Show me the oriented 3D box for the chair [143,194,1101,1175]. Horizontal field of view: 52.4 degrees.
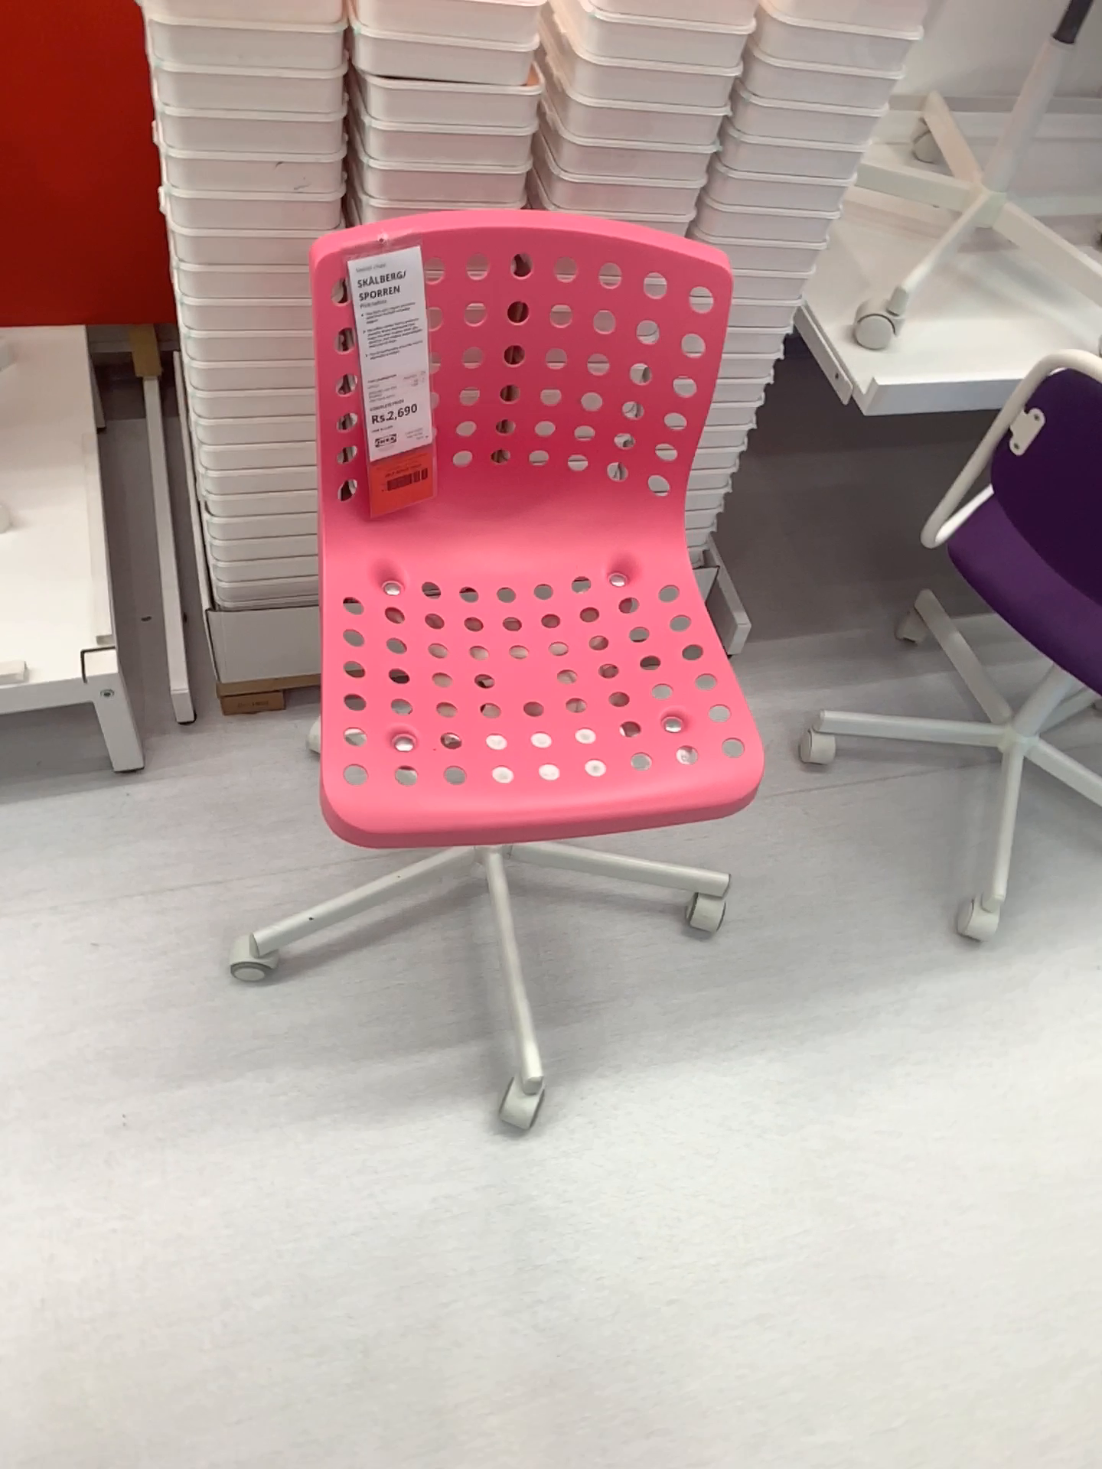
[{"bbox_3d":[-0.024,-0.046,1.182,0.670,0.688,0.692,-5,54,-13],"label":"chair"}]
